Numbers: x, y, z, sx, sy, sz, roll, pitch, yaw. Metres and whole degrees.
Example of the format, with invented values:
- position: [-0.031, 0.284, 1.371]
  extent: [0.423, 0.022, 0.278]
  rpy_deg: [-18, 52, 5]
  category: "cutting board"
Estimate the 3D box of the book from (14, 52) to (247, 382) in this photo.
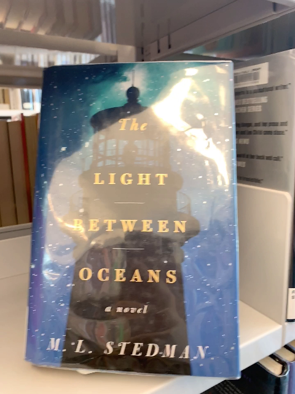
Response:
- position: [-0.011, 0.008, 0.239]
  extent: [0.155, 0.226, 0.042]
  rpy_deg: [0, -8, 6]
  category: "book"
